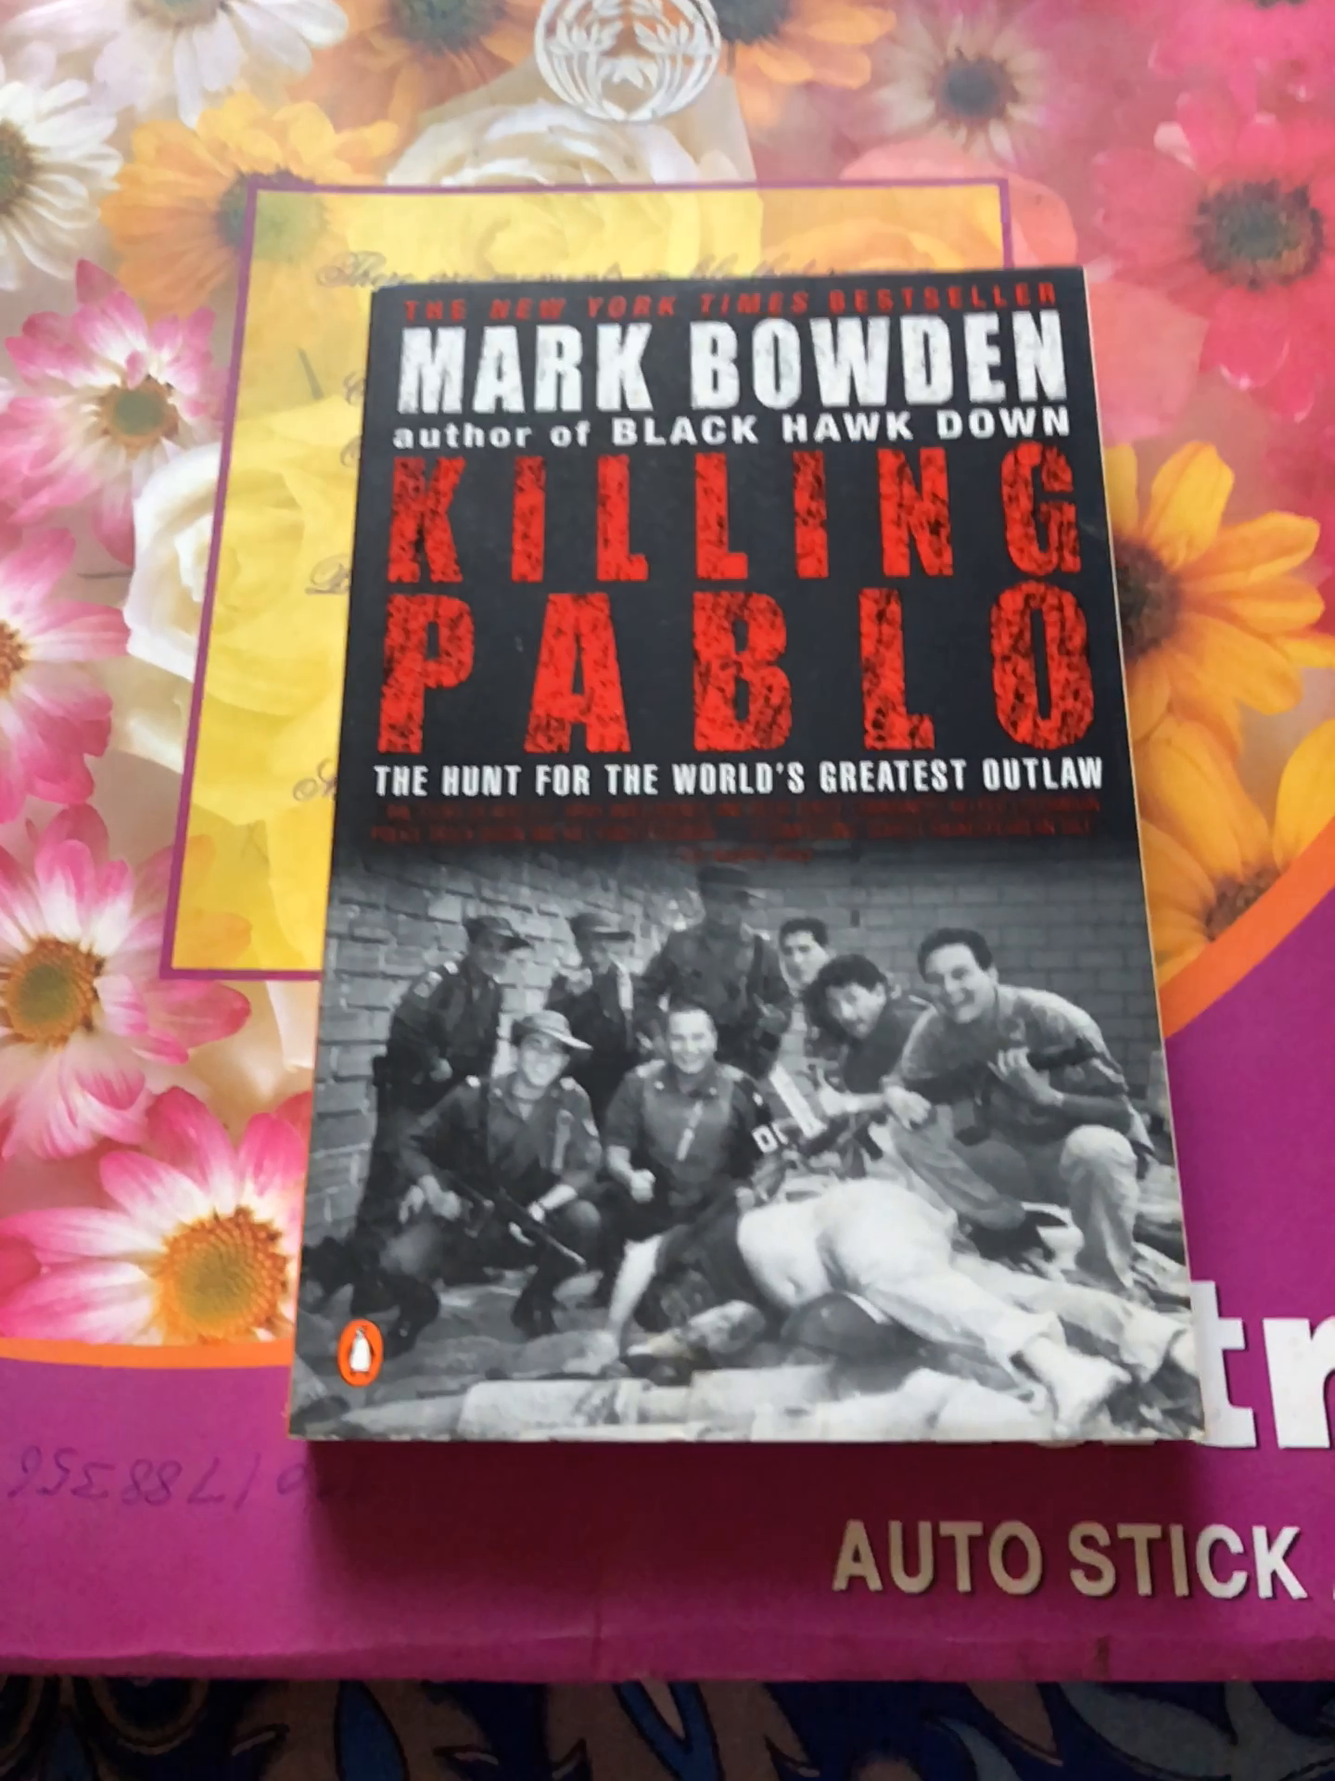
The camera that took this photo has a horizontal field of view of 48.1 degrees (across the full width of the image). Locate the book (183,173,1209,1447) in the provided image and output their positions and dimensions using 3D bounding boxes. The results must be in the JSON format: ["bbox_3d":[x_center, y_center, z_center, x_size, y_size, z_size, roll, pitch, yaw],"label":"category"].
[{"bbox_3d":[0.004,-0.022,0.271,0.150,0.030,0.230,-2,70,7],"label":"book"}]
